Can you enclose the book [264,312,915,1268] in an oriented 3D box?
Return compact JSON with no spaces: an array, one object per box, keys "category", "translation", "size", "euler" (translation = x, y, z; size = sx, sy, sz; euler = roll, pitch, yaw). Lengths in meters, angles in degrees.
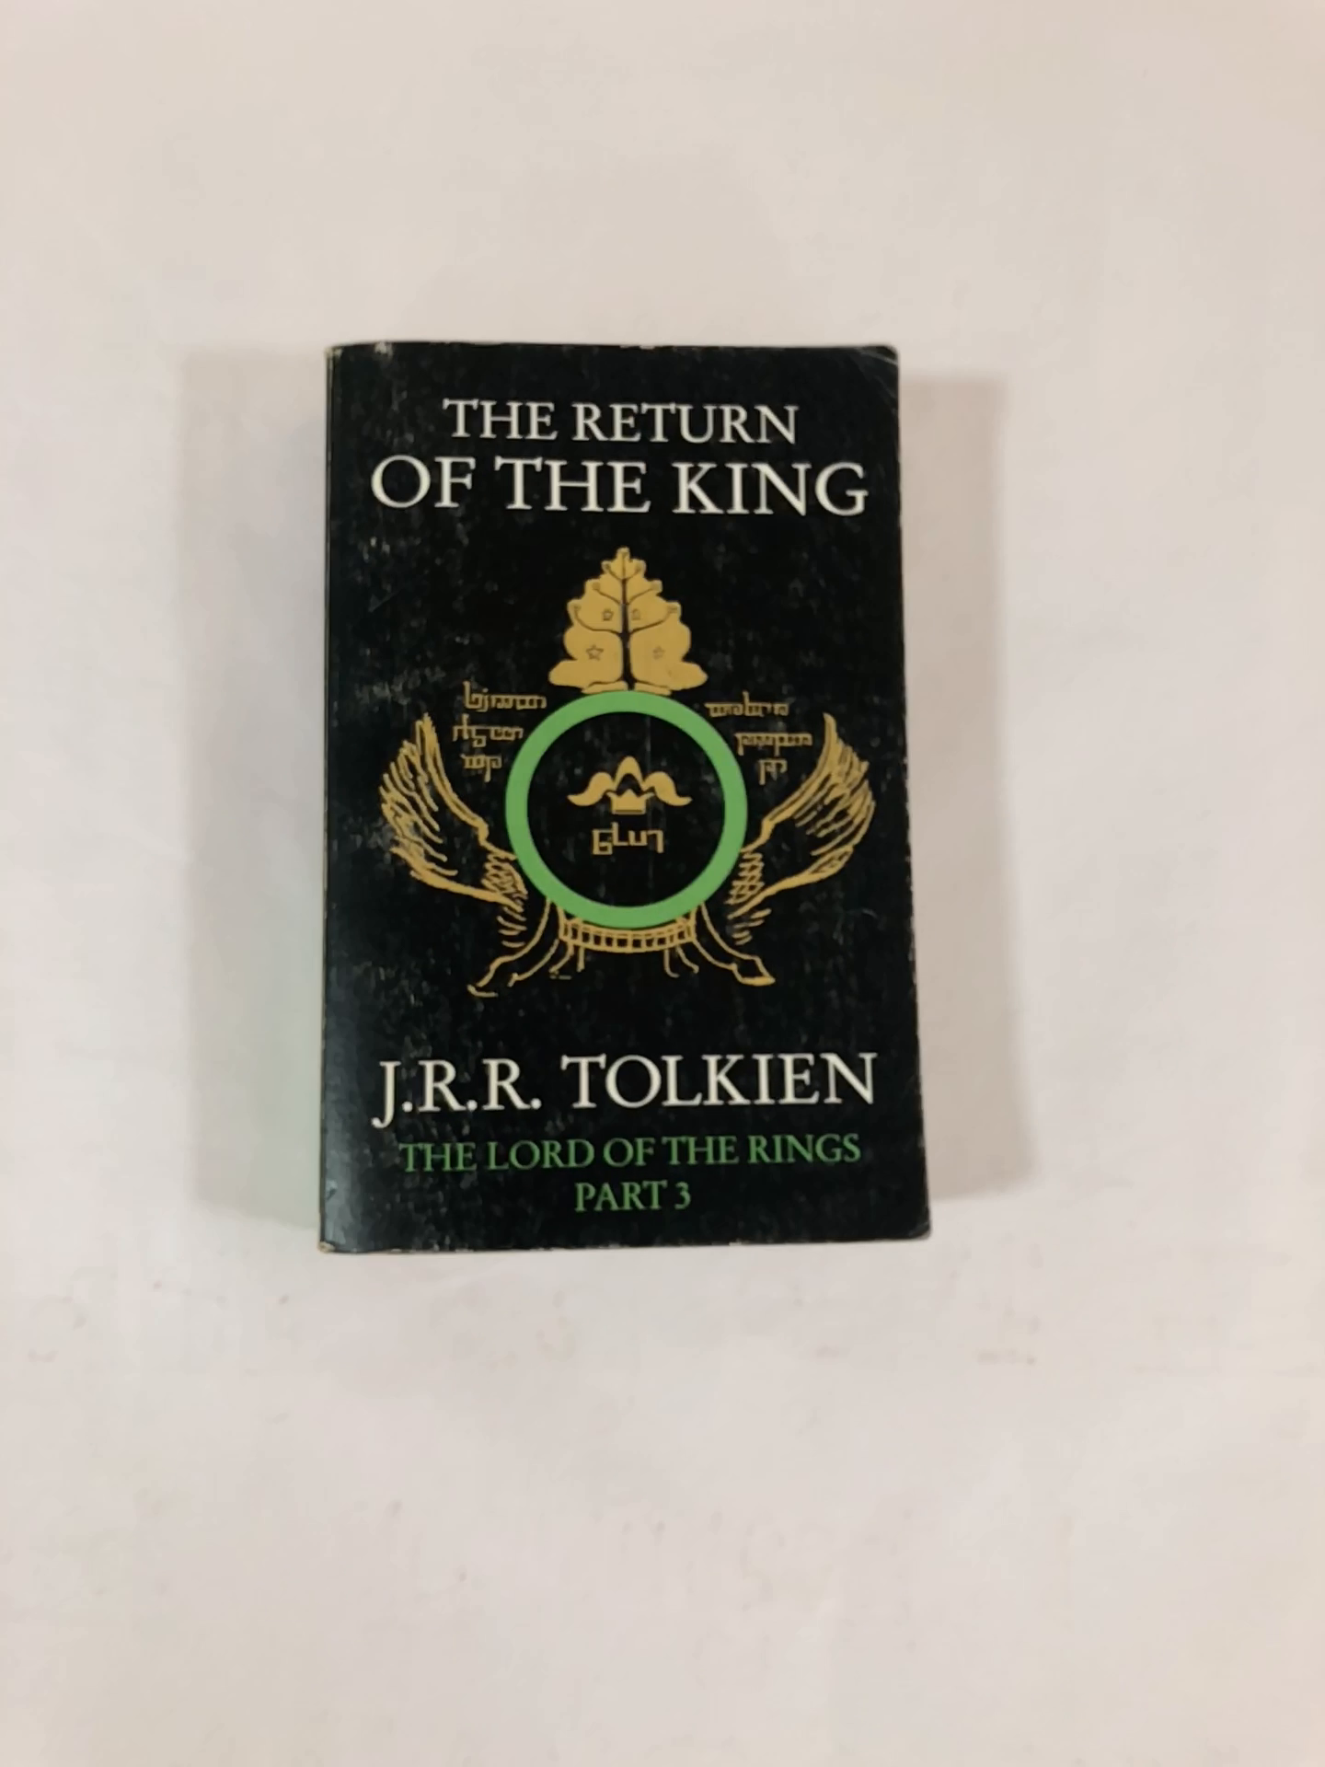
[{"category":"book","translation":[-0.017,-0.022,0.330],"size":[0.130,0.040,0.200],"euler":[-1,82,-4]}]
